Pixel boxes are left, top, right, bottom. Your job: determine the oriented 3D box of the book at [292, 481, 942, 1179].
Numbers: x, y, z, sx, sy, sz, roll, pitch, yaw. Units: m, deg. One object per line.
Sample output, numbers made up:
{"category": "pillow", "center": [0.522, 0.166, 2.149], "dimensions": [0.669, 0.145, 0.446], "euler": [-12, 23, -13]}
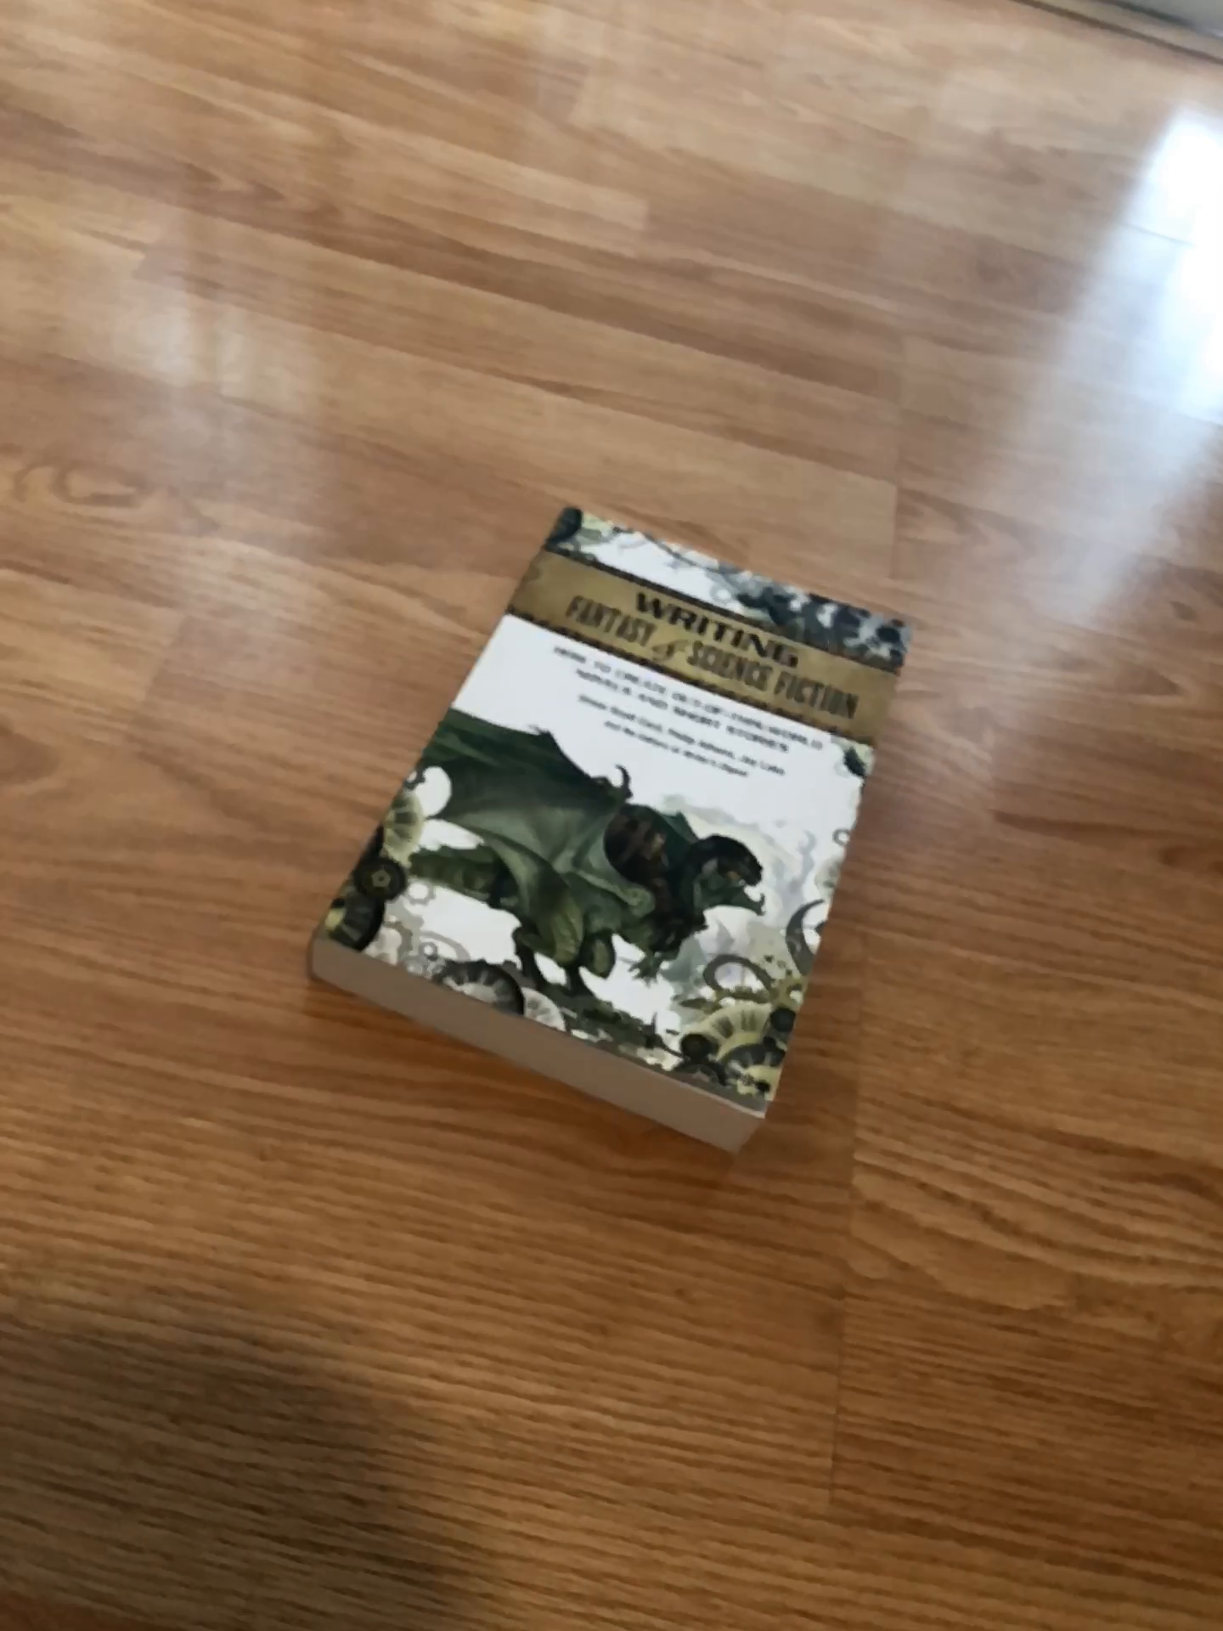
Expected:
{"category": "book", "center": [0.014, -0.010, 0.488], "dimensions": [0.165, 0.040, 0.229], "euler": [22, 51, 3]}
